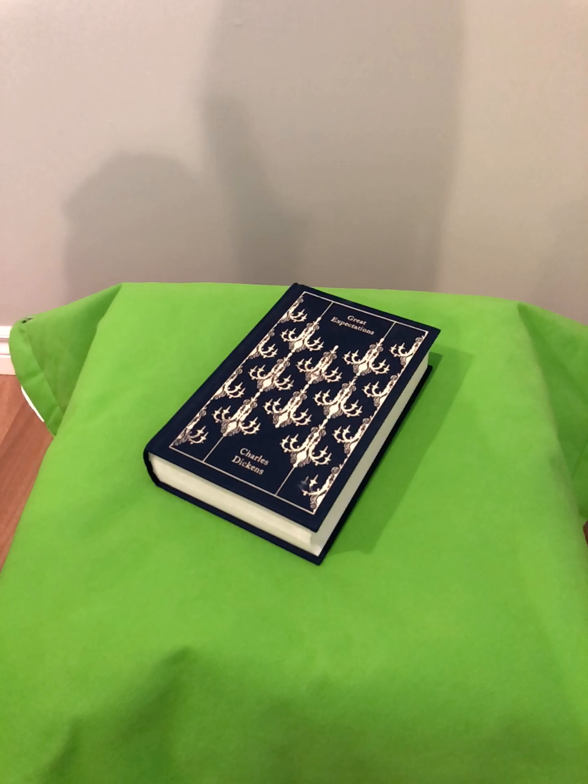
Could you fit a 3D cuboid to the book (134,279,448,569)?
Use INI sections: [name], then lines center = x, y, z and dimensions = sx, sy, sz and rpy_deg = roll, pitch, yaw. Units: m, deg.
[book]
center = 0.007, 0.007, 0.481
dimensions = 0.140, 0.040, 0.211
rpy_deg = 22, 50, 21
